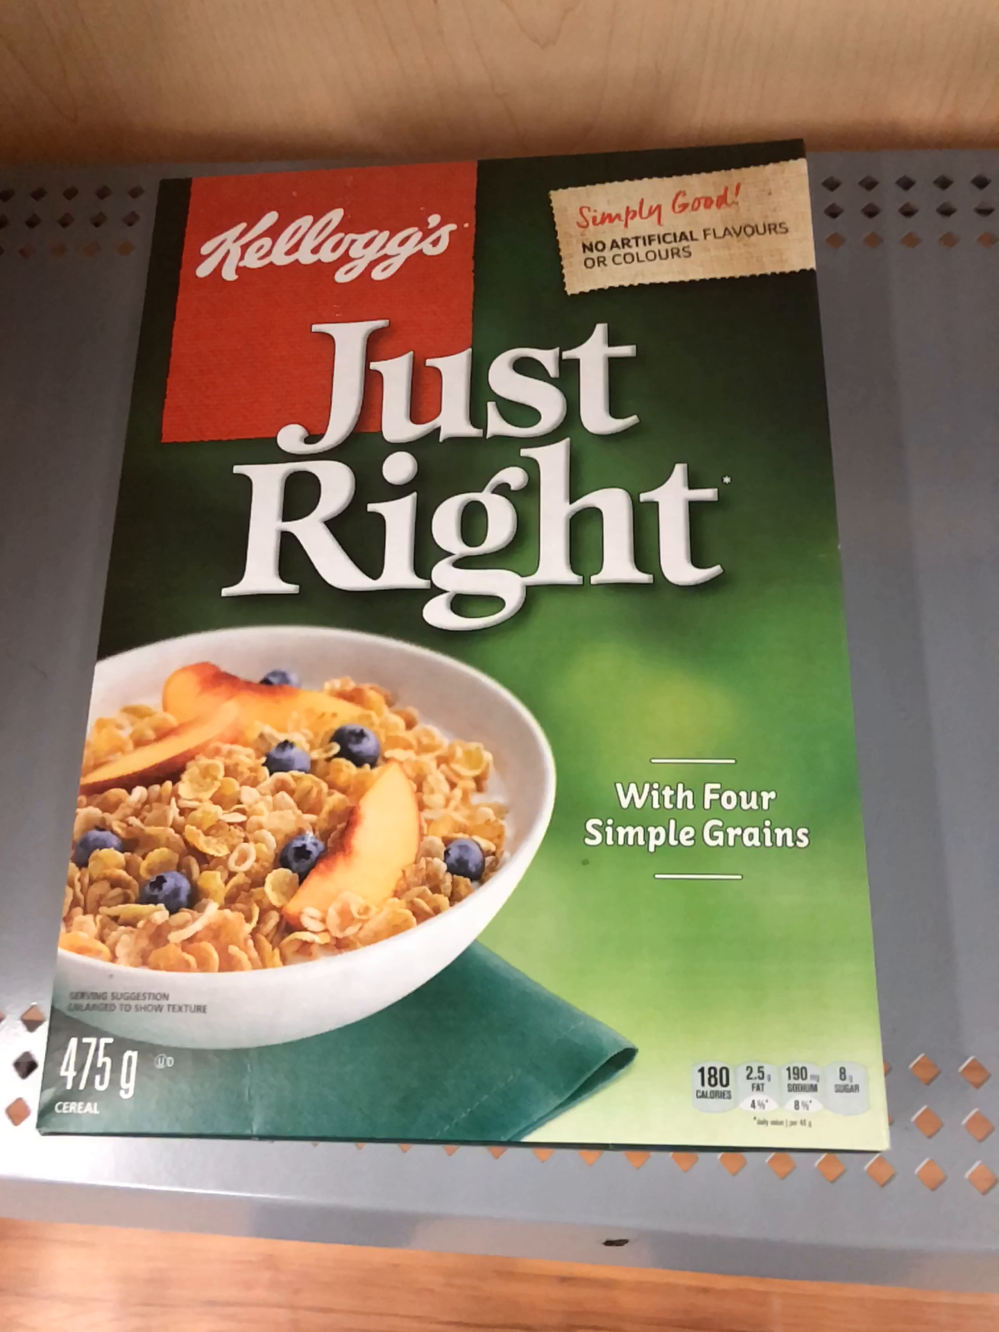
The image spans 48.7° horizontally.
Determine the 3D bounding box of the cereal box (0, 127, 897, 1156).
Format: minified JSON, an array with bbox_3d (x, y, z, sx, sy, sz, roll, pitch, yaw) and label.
[{"bbox_3d":[-0.013,-0.014,0.311,0.200,0.060,0.271,-2,71,6],"label":"cereal box"}]
